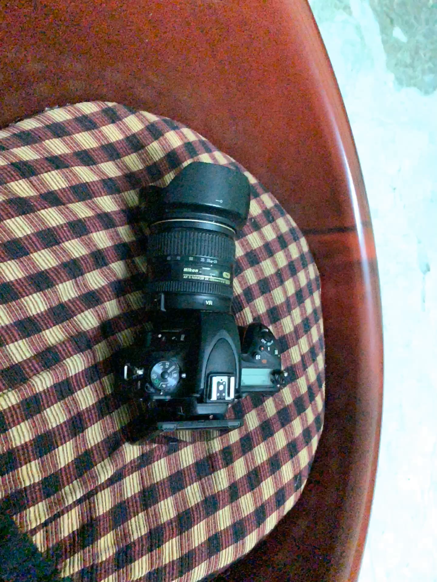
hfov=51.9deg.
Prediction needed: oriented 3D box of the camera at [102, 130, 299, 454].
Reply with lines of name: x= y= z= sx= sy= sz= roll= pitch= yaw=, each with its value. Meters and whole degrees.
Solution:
camera: x=-0.016 y=0.008 z=0.414 sx=0.140 sy=0.101 sz=0.250 roll=7 pitch=77 yaw=-28
